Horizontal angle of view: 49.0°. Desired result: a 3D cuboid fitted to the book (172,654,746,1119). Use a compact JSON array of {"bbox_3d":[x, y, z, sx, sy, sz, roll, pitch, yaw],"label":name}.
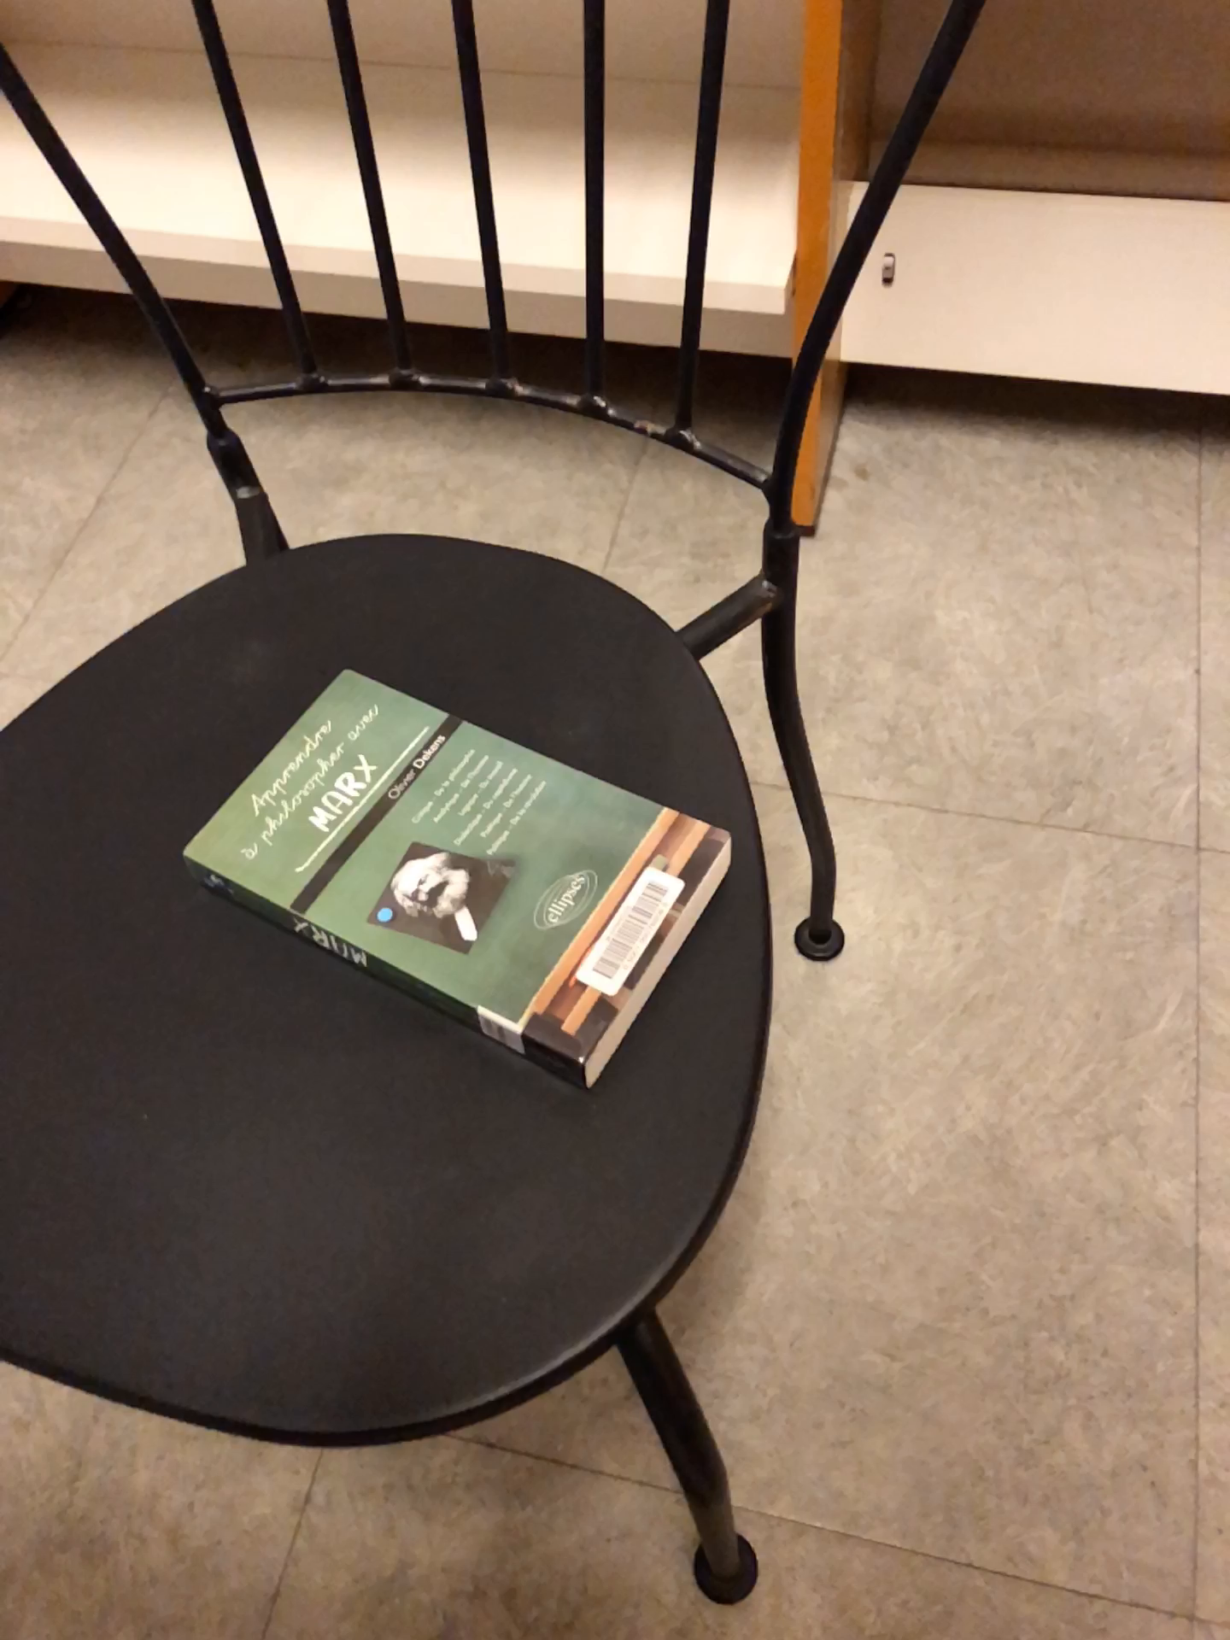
[{"bbox_3d":[-0.056,0.017,0.494,0.177,0.024,0.110,26,63,20],"label":"book"}]
